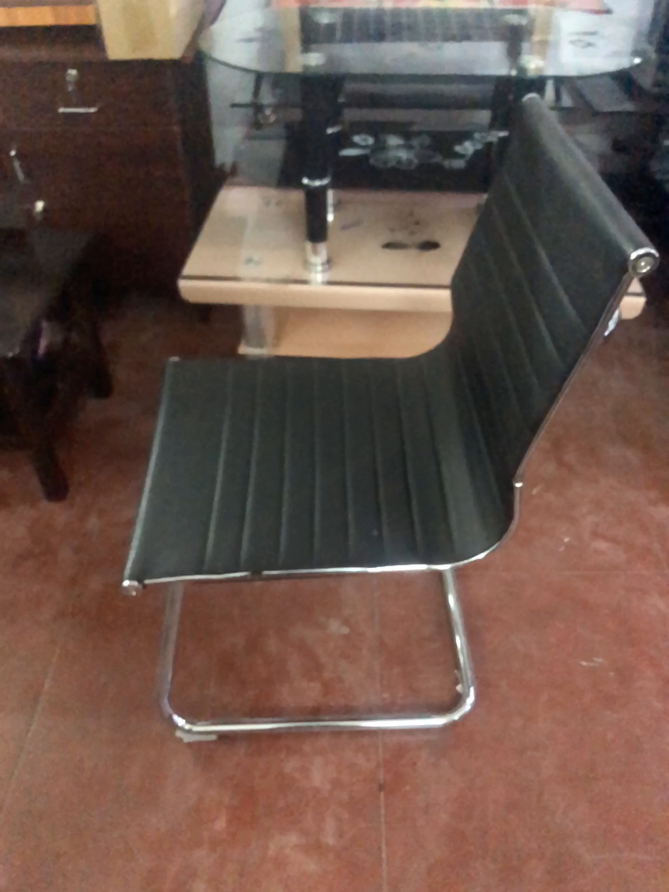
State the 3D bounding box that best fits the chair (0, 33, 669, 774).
[{"bbox_3d":[-0.053,-0.035,1.061,0.680,0.856,0.593,-2,42,-2],"label":"chair"}]
